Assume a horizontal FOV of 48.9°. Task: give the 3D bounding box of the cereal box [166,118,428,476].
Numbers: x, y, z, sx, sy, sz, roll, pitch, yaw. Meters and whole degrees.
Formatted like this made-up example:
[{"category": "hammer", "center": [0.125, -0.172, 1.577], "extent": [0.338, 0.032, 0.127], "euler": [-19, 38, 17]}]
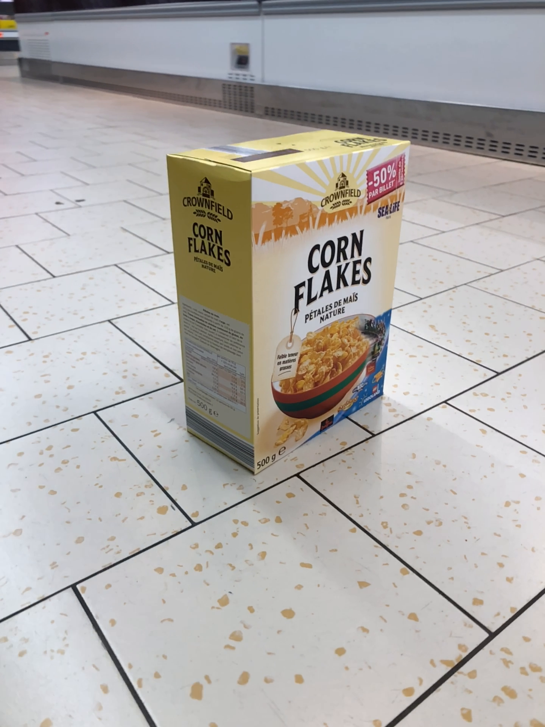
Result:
[{"category": "cereal box", "center": [0.026, -0.070, 0.537], "extent": [0.100, 0.259, 0.201], "euler": [24, 36, 38]}]
